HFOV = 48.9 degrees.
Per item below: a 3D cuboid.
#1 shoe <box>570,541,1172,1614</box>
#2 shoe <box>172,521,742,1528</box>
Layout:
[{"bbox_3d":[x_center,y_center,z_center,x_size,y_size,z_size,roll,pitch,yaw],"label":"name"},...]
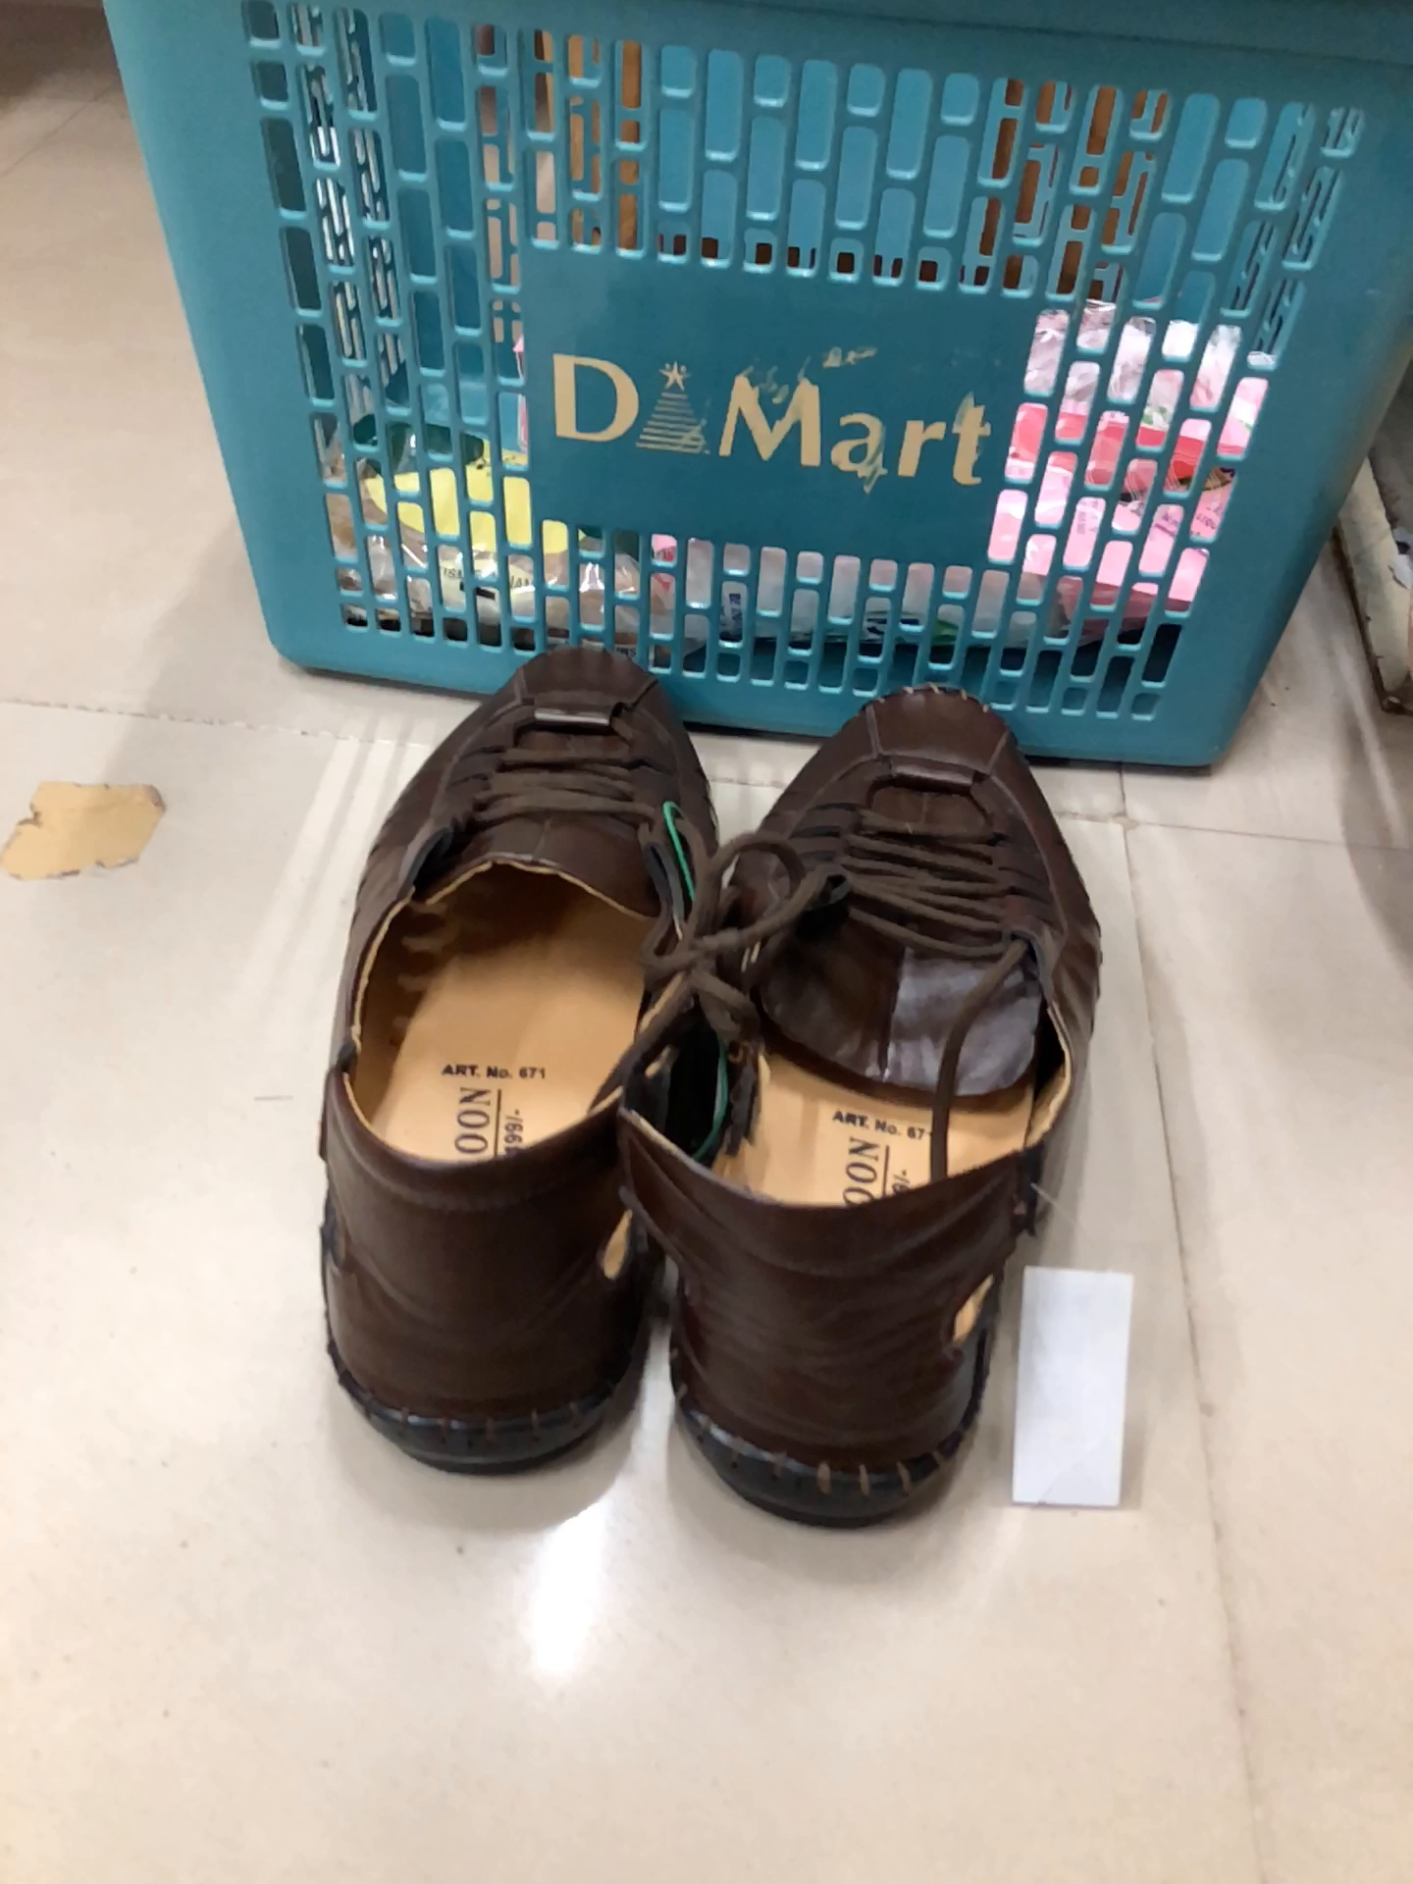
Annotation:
[{"bbox_3d":[0.056,0.014,0.421,0.112,0.101,0.274,11,45,7],"label":"shoe"},{"bbox_3d":[-0.047,0.003,0.426,0.107,0.101,0.274,3,45,-1],"label":"shoe"}]
